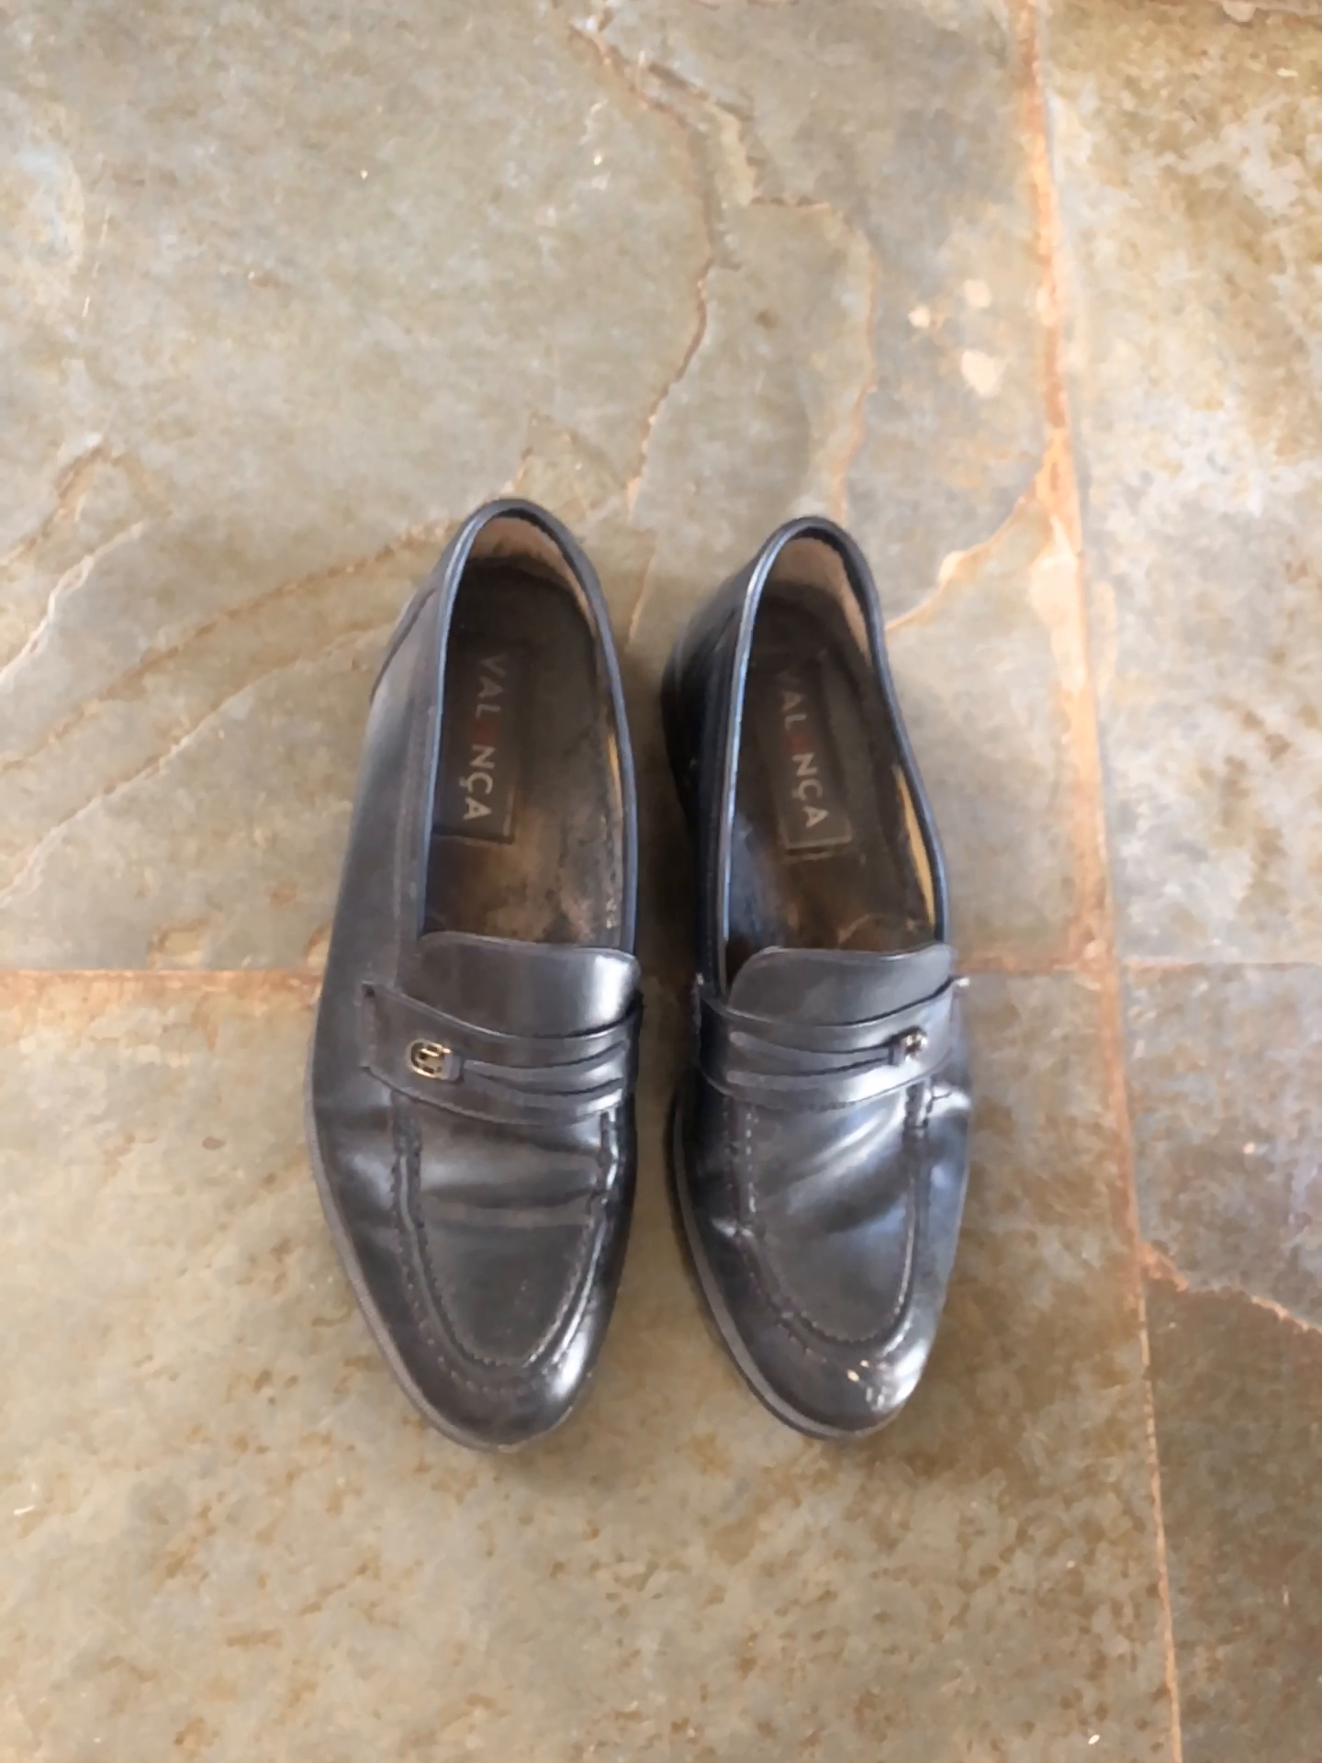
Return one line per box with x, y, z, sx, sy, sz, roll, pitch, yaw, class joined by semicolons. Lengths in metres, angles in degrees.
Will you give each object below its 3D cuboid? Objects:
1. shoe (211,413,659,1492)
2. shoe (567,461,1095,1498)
-0.060;0.018;0.407;0.100;0.100;0.260;1;78;-9;shoe
0.037;0.023;0.423;0.100;0.100;0.260;-3;79;-10;shoe
